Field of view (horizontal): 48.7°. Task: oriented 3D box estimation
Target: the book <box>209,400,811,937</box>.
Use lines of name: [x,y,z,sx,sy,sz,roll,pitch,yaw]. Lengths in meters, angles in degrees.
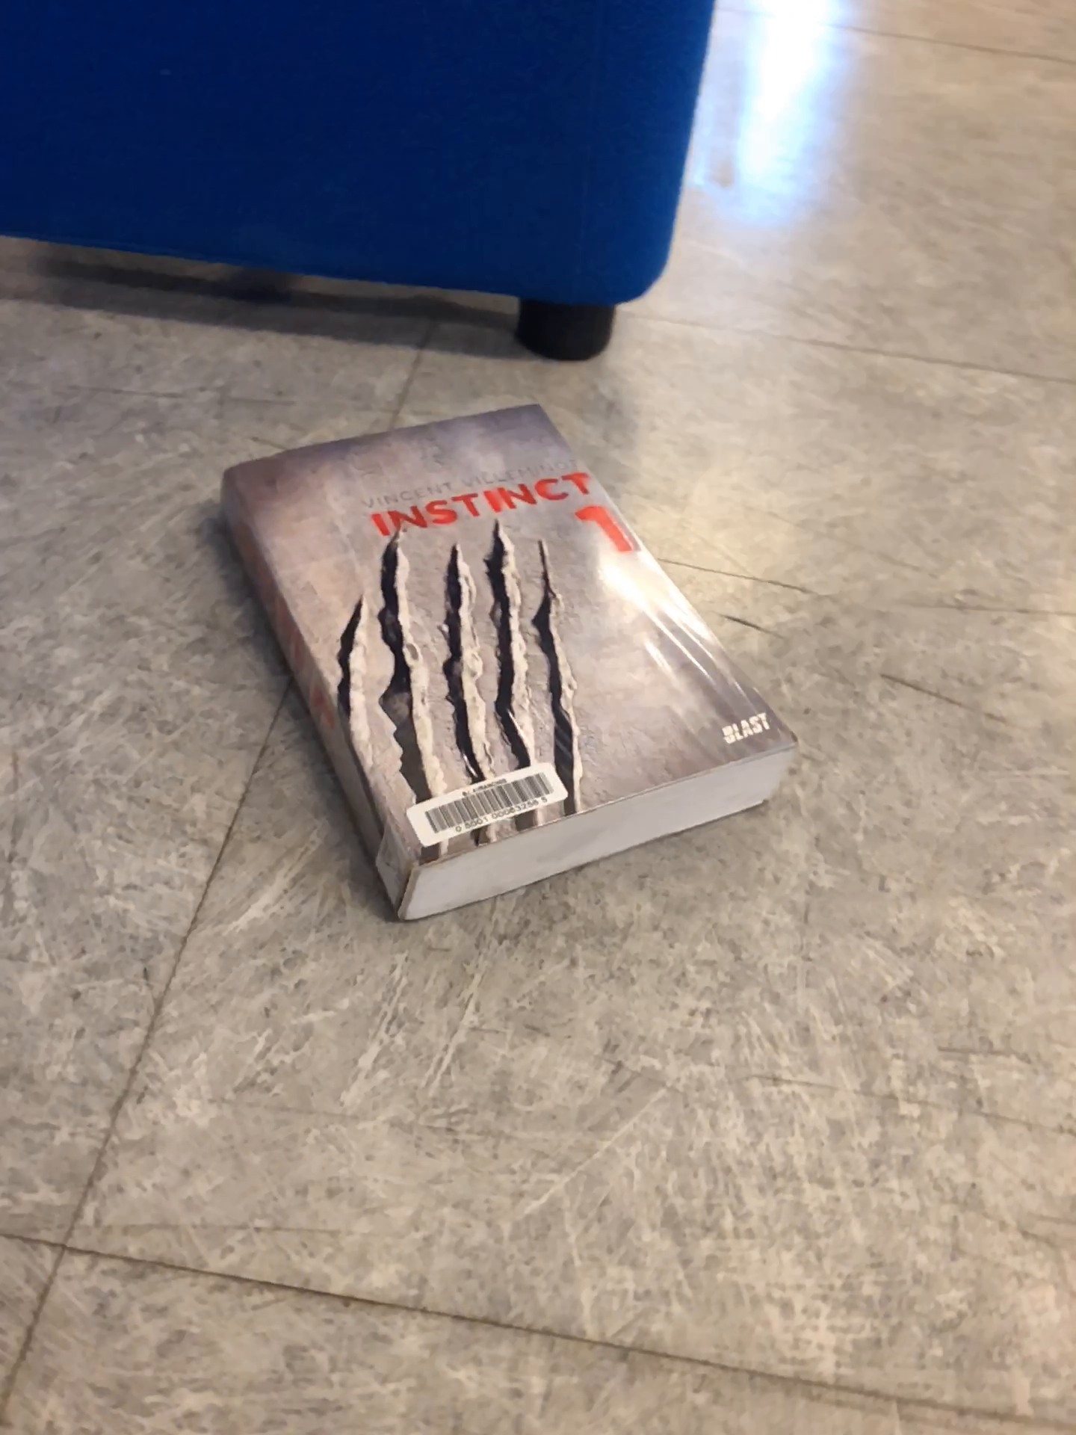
book: [-0.020,-0.035,0.436,0.142,0.028,0.211,-16,52,-20]
